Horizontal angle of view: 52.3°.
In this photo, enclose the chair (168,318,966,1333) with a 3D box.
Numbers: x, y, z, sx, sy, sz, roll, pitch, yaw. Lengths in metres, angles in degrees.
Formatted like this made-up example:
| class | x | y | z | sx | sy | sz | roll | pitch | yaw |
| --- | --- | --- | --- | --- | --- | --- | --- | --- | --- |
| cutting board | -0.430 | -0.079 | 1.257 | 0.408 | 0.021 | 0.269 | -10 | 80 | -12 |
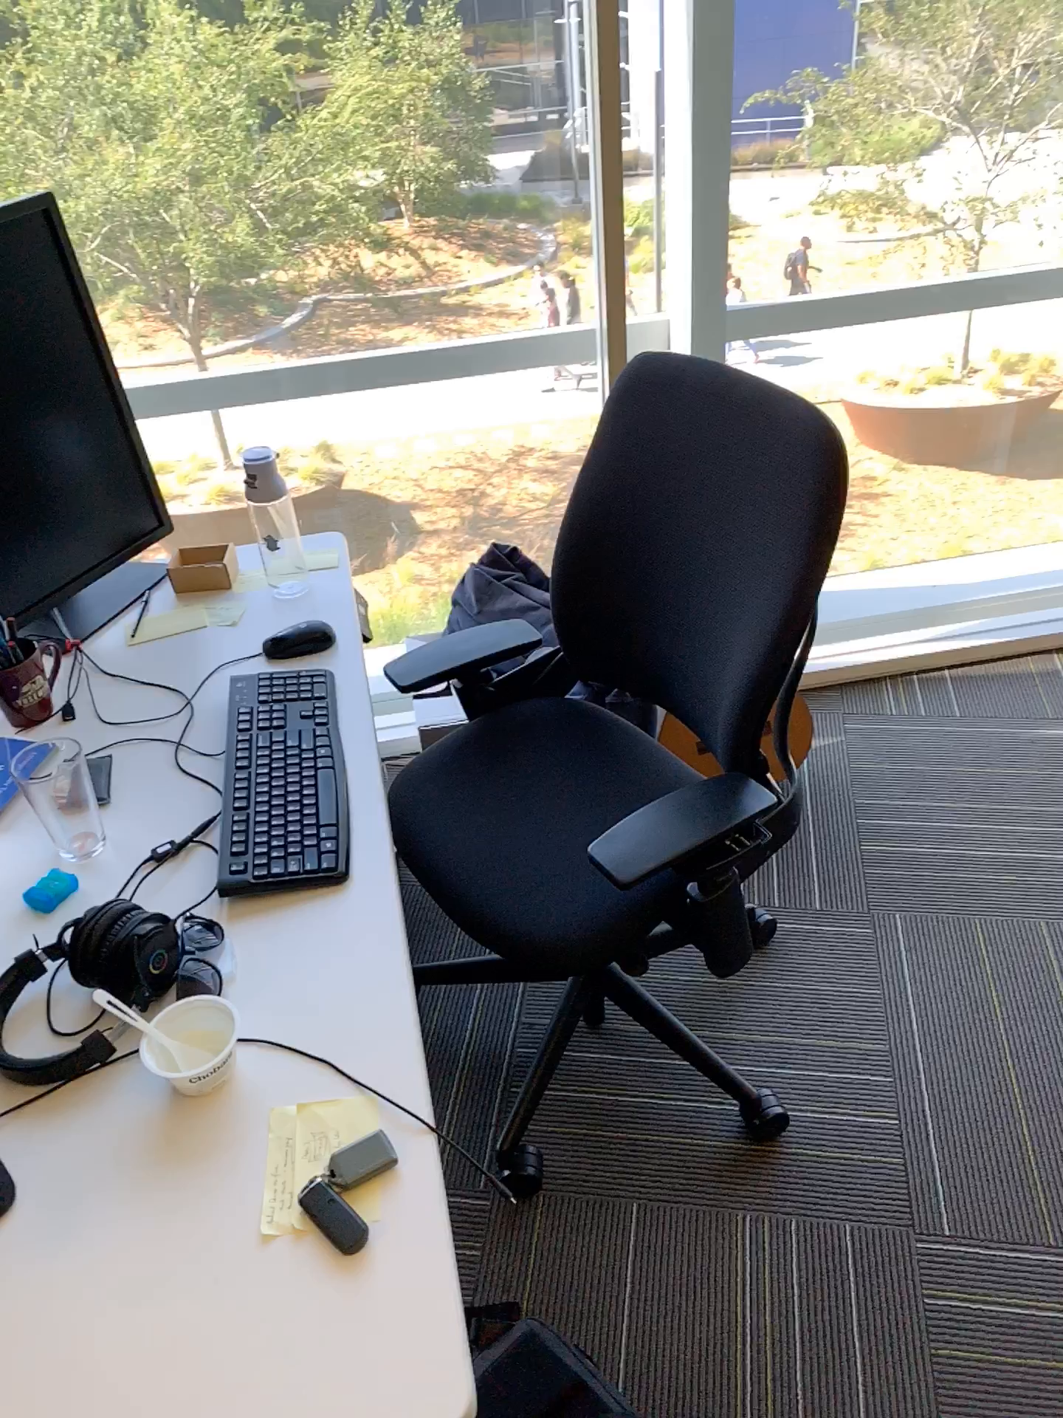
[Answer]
| class | x | y | z | sx | sy | sz | roll | pitch | yaw |
| --- | --- | --- | --- | --- | --- | --- | --- | --- | --- |
| chair | 0.065 | 0.162 | 1.695 | 0.691 | 1.222 | 0.714 | -28 | 42 | -28 |
